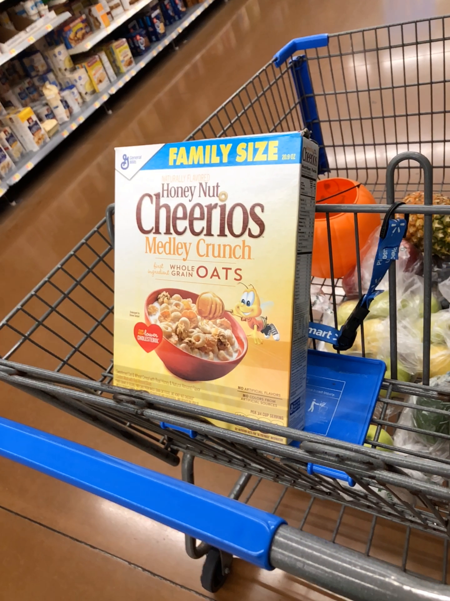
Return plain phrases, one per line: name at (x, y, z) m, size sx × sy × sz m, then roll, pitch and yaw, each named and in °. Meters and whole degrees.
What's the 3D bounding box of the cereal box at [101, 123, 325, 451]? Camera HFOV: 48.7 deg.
cereal box at (-0.025, -0.021, 0.577) m, size 0.251 × 0.320 × 0.070 m, roll 5°, pitch 7°, yaw 30°
